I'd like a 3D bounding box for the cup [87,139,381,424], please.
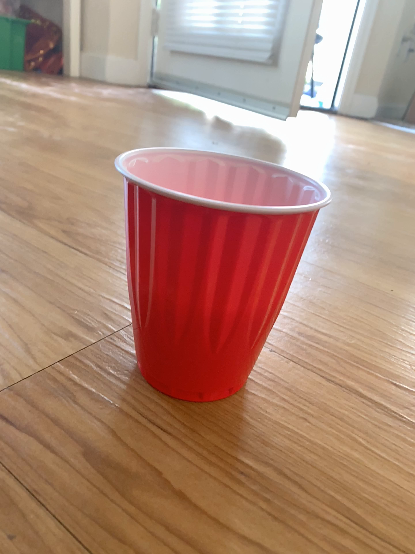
[{"bbox_3d":[-0.003,-0.006,0.208,0.100,0.090,0.100,7,26,-4],"label":"cup"}]
